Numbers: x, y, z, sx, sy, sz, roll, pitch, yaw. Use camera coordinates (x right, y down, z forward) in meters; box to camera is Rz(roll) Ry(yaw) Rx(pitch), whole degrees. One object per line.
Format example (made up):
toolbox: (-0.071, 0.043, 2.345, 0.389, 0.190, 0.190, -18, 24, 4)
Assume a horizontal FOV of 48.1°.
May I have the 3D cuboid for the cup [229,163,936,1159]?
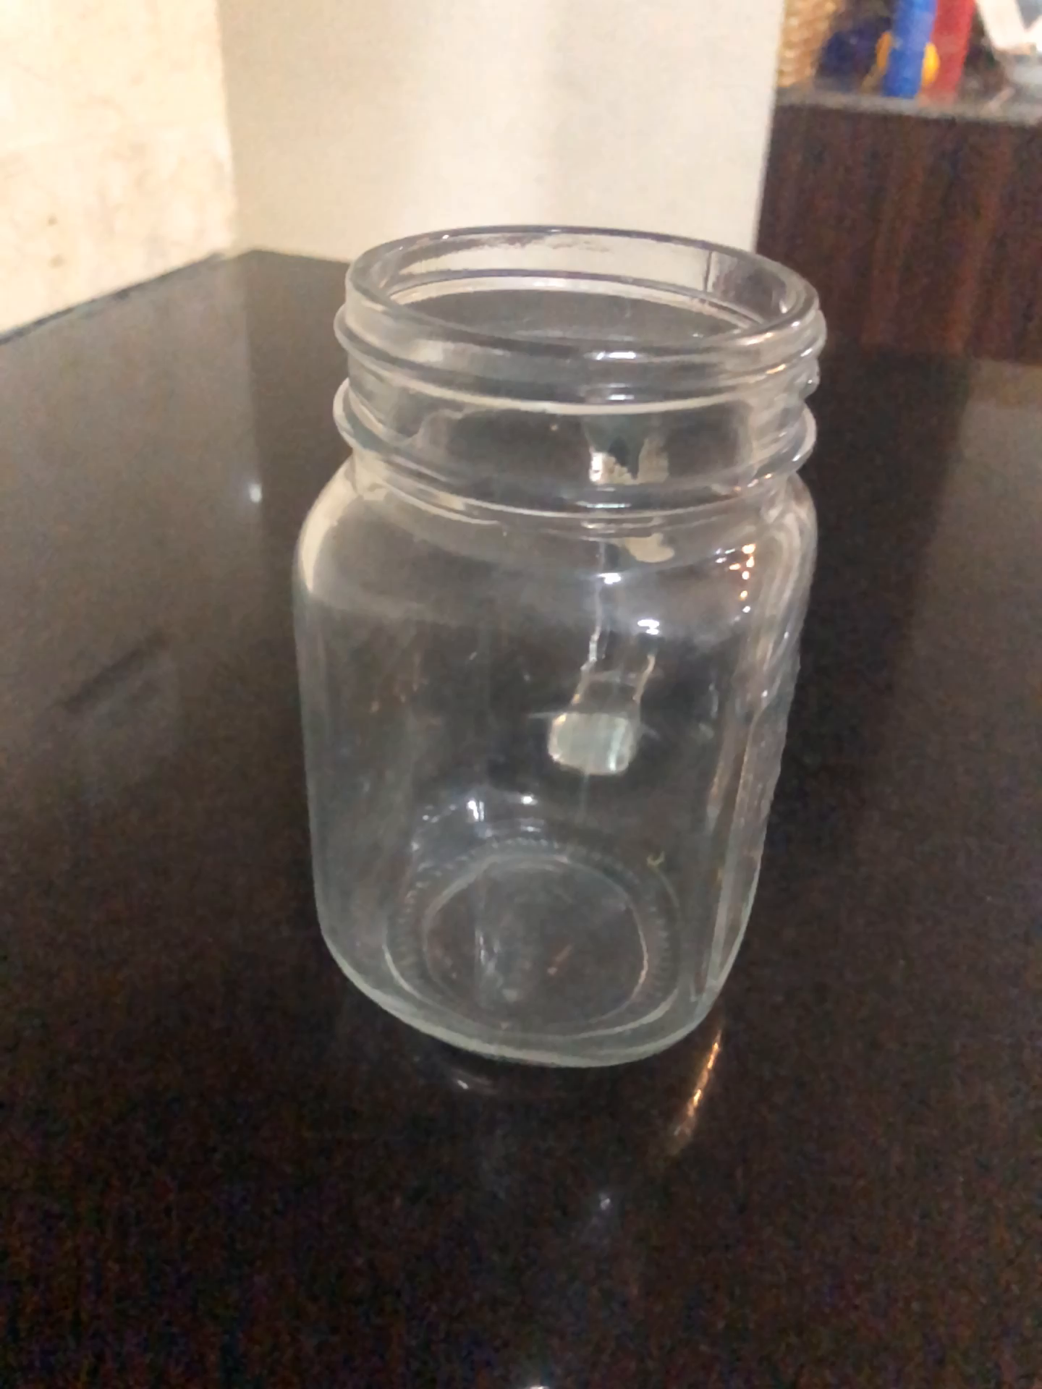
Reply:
cup: (0.018, -0.014, 0.211, 0.080, 0.129, 0.111, 12, 34, 14)
